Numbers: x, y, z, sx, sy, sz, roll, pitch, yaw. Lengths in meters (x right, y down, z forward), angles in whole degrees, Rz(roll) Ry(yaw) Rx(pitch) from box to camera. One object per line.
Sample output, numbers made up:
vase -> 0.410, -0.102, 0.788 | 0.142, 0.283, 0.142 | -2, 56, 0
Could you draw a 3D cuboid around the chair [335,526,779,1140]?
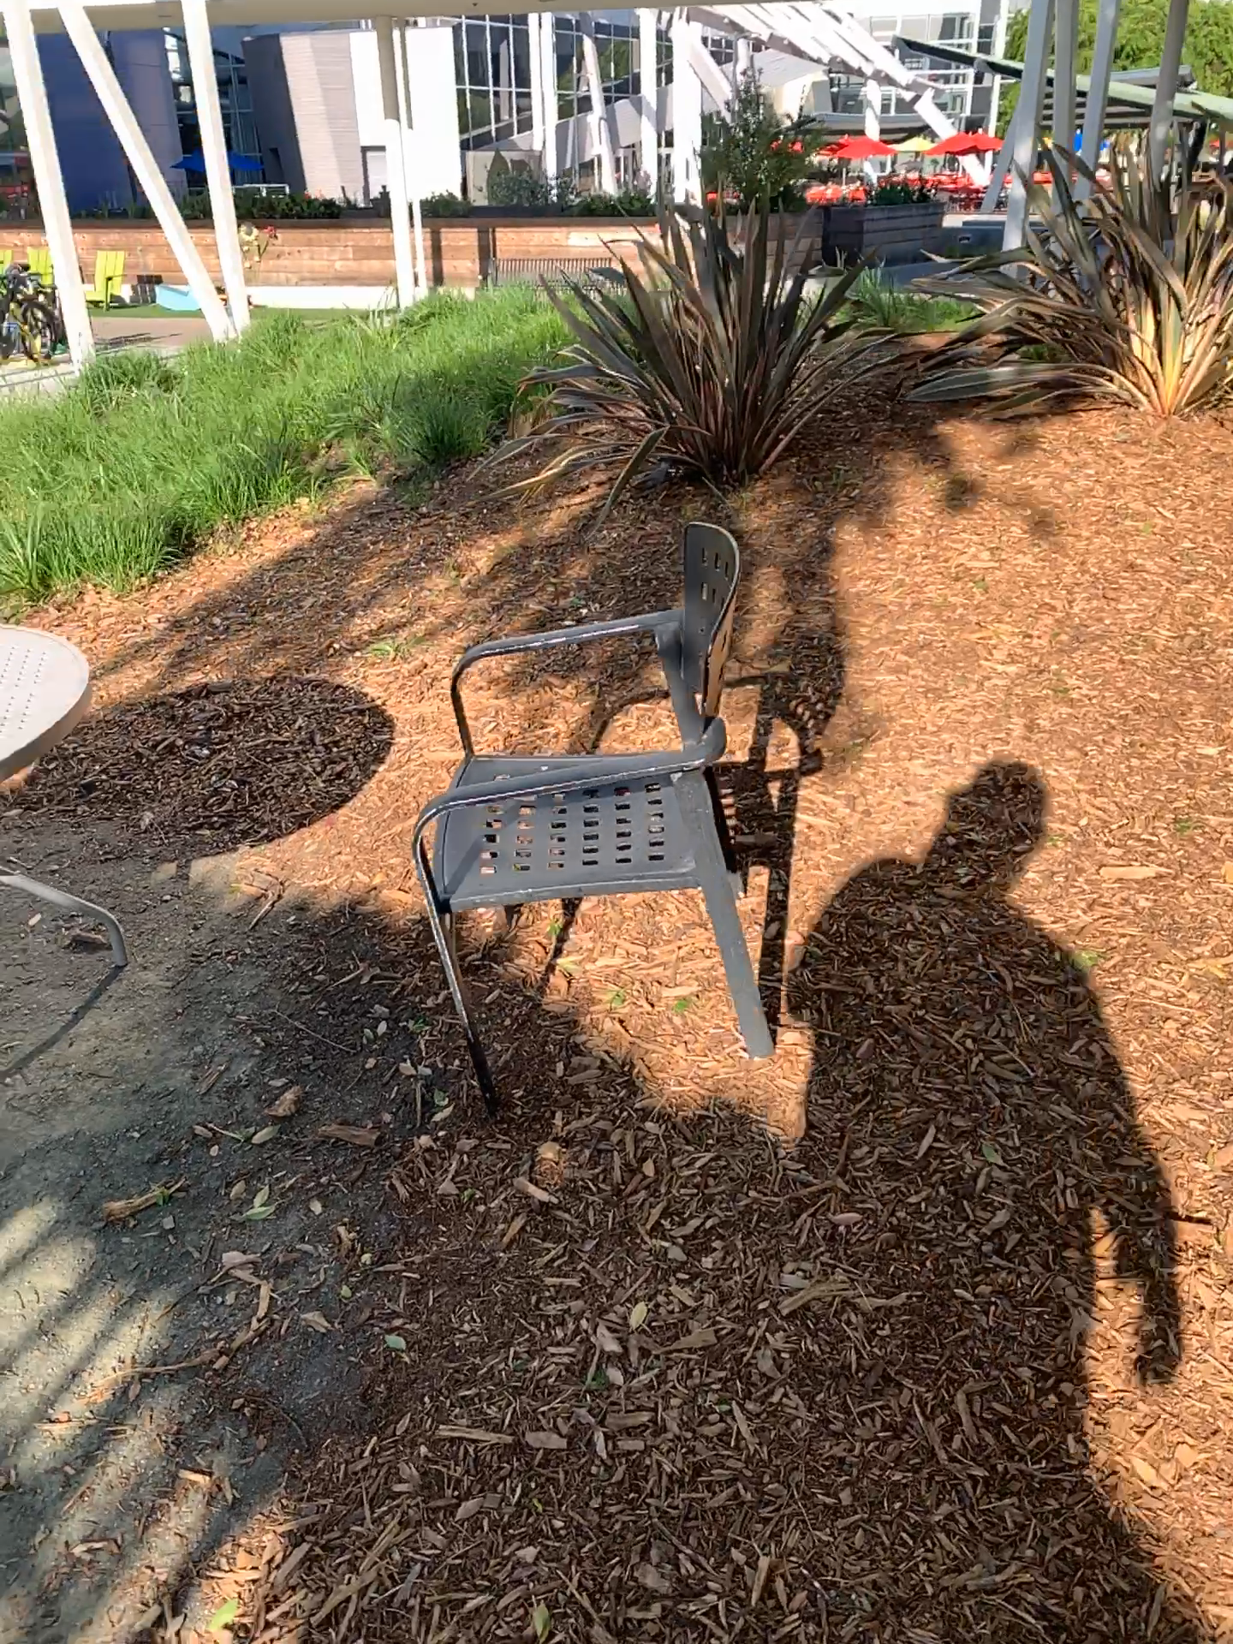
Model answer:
chair -> -0.058, -0.001, 1.811 | 0.500, 0.716, 0.523 | 0, 27, 1
